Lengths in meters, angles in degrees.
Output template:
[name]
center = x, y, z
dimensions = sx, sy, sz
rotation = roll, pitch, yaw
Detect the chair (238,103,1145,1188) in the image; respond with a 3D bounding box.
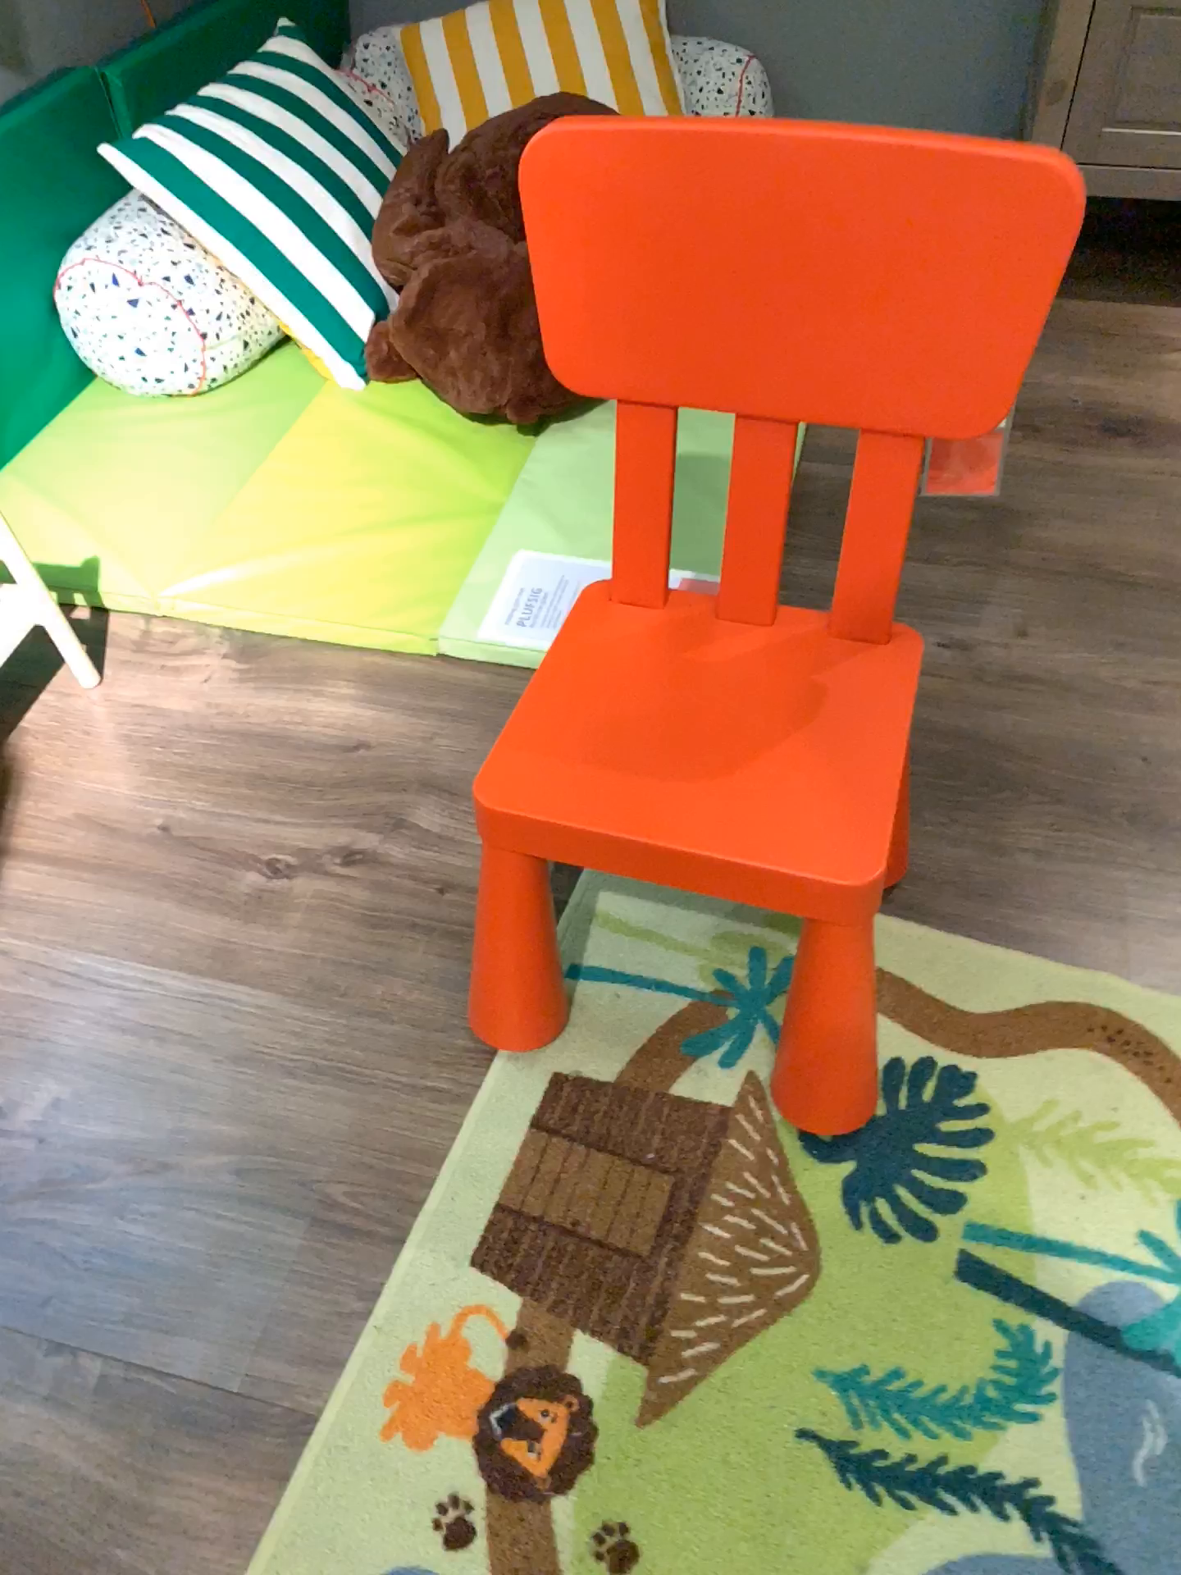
[chair]
center = 0.112, -0.107, 0.935
dimensions = 0.430, 0.597, 0.492
rotation = 12, 48, 14
